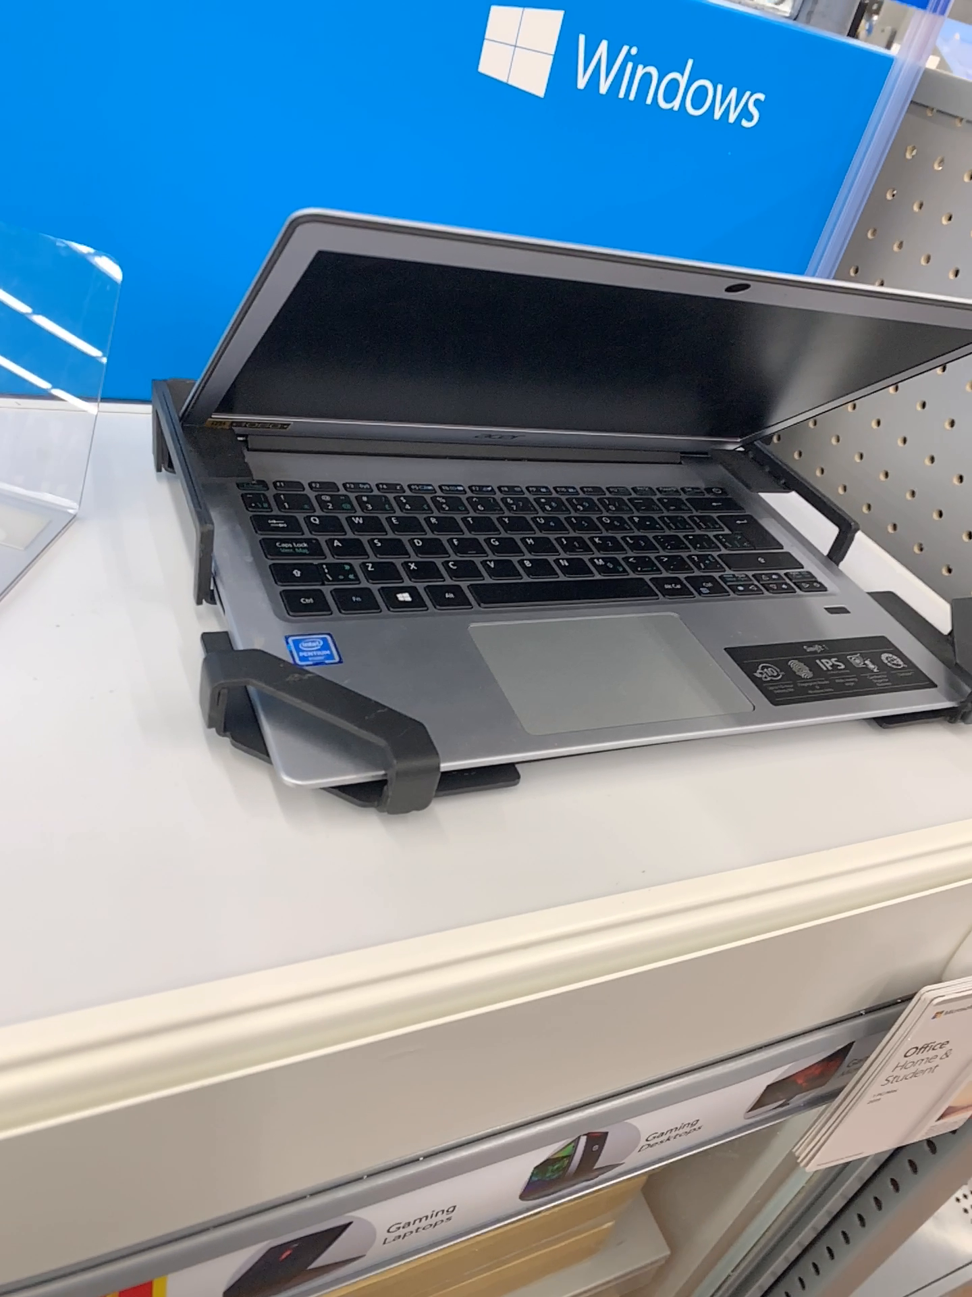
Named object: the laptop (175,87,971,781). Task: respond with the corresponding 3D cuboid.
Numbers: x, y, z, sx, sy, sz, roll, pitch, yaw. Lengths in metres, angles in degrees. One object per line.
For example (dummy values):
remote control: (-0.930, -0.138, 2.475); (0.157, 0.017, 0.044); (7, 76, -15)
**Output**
laptop: (0.055, -0.091, 0.398); (0.306, 0.141, 0.213); (-4, 40, -26)
